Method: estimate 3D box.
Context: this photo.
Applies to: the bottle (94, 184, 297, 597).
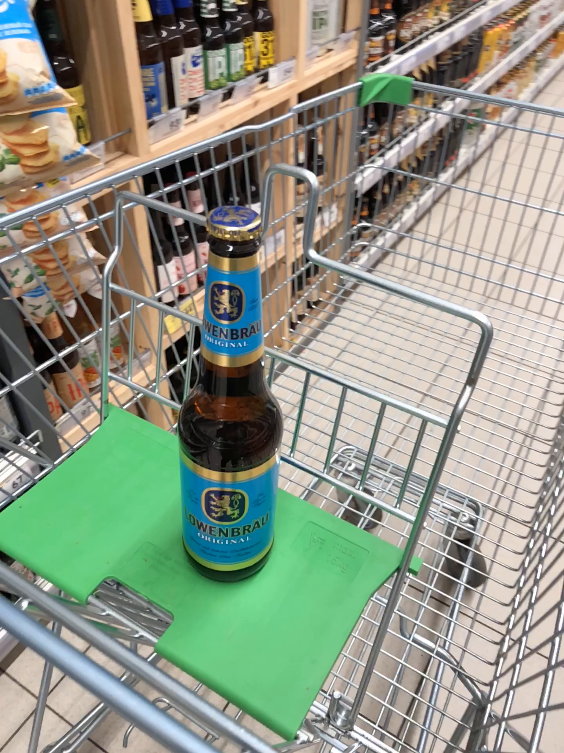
[{"bbox_3d":[-0.042,0.023,0.371,0.080,0.249,0.070,7,38,6],"label":"bottle"}]
